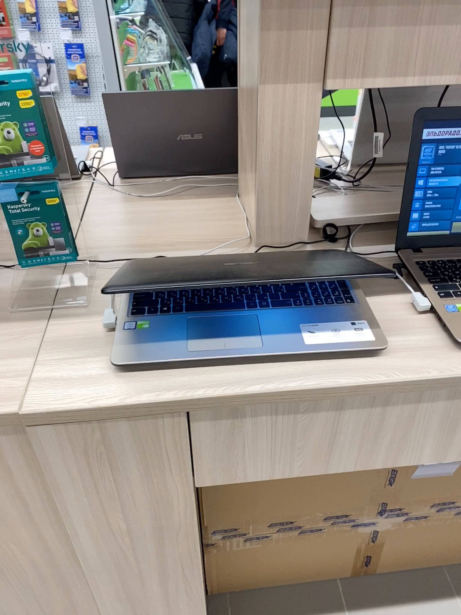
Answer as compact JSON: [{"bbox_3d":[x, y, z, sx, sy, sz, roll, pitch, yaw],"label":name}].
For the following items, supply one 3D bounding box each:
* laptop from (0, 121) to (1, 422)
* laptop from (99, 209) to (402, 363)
[{"bbox_3d":[-0.605,-0.072,0.627,0.420,0.235,0.319,-4,36,-4],"label":"laptop"},{"bbox_3d":[0.020,-0.045,0.710,0.381,0.094,0.241,-2,37,-4],"label":"laptop"}]
